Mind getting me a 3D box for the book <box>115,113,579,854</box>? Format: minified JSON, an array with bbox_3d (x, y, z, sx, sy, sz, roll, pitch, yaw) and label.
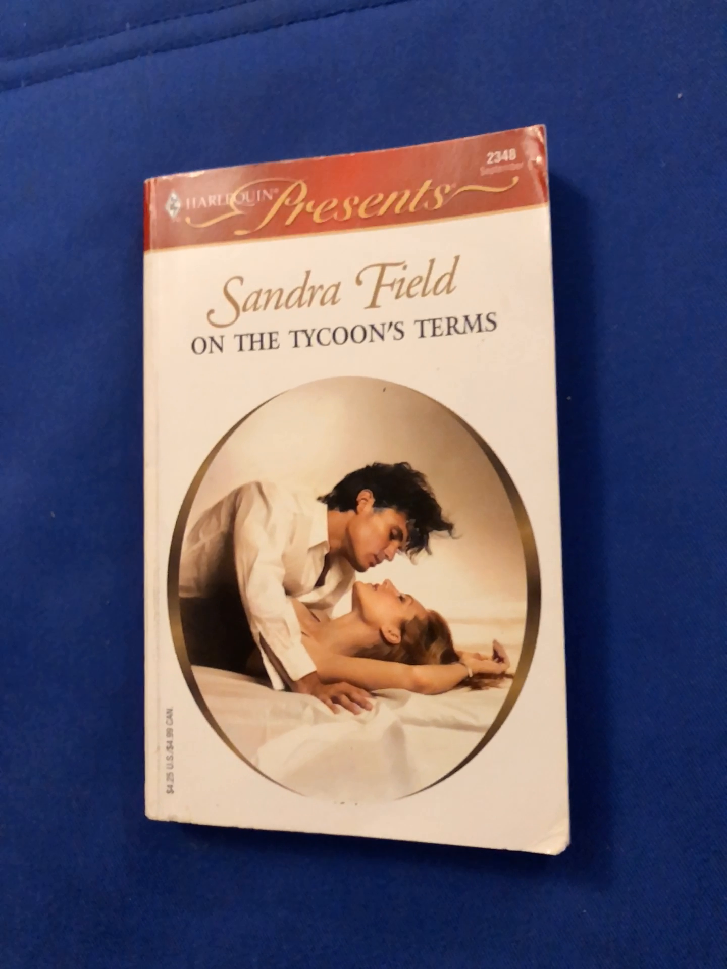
[{"bbox_3d":[-0.006,0.000,0.196,0.107,0.020,0.157,-2,87,15],"label":"book"}]
